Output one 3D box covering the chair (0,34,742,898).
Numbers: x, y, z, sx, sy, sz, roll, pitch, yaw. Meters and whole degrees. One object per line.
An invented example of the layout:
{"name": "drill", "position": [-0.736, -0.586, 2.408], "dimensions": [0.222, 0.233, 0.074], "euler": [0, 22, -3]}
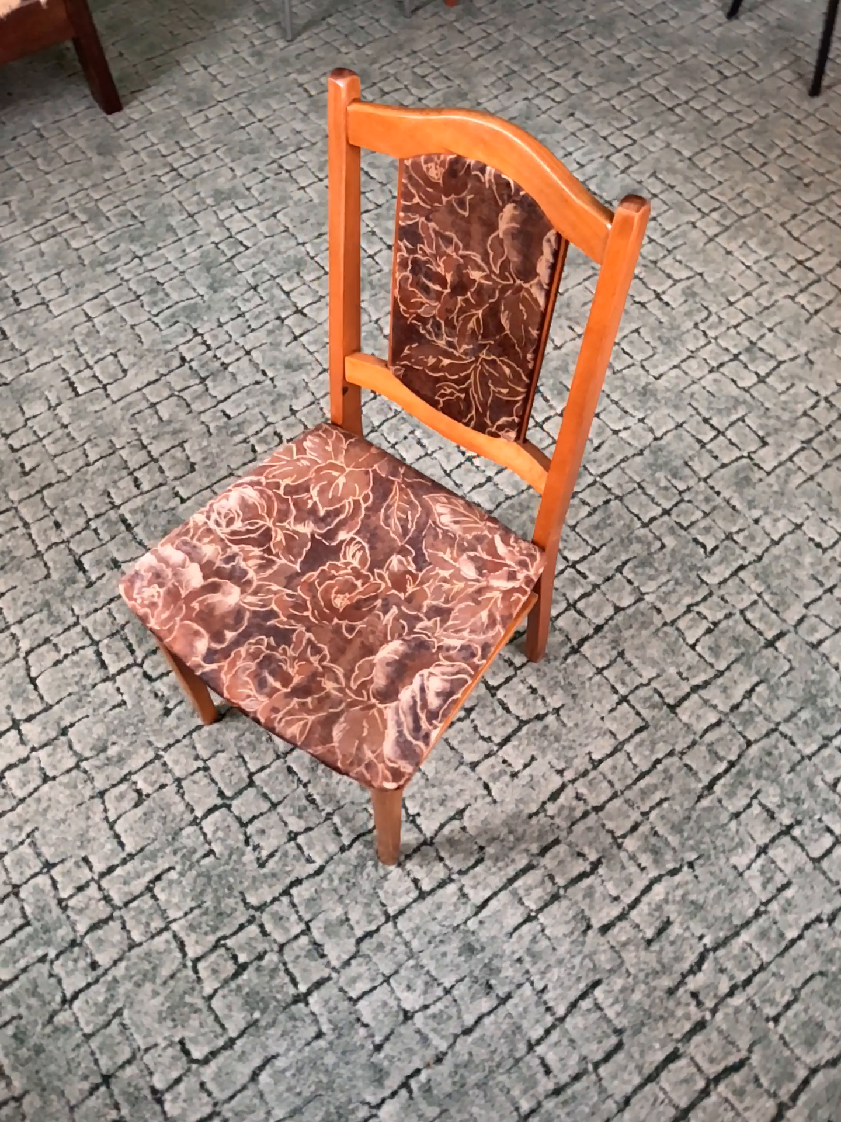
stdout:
{"name": "chair", "position": [-0.051, -0.042, 1.198], "dimensions": [0.481, 0.875, 0.552], "euler": [34, 65, 21]}
